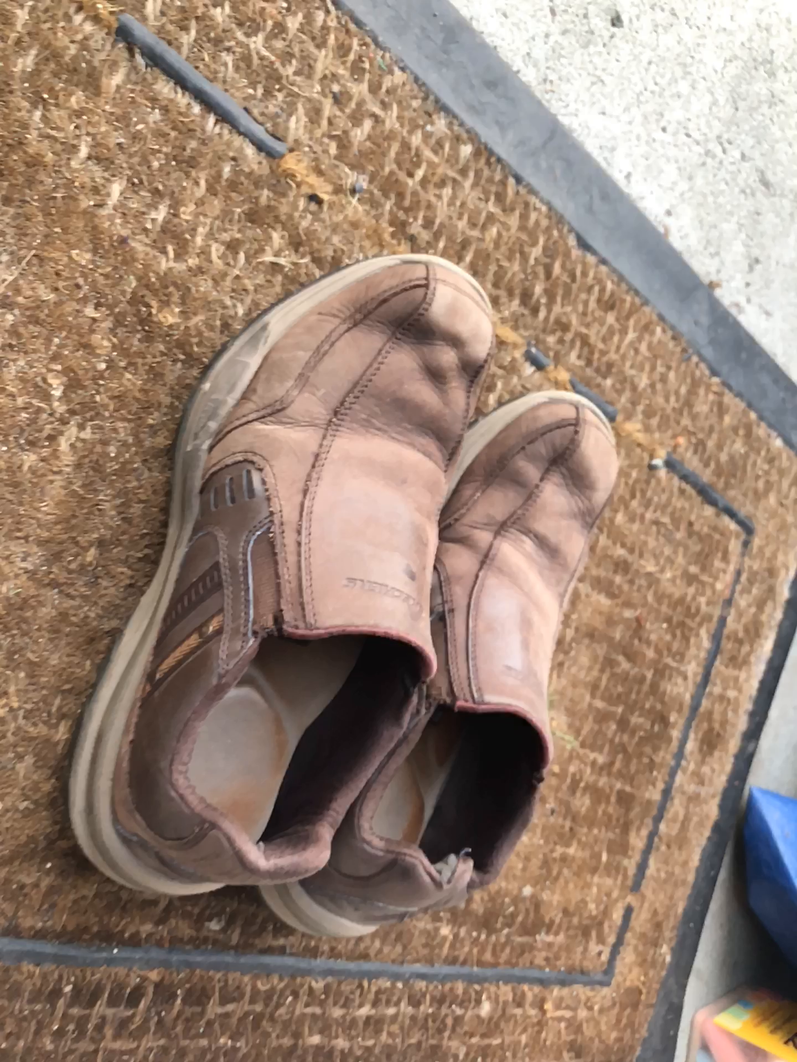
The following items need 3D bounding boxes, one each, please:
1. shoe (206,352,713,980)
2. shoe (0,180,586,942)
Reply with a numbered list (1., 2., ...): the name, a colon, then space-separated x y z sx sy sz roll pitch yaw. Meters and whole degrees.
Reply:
1. shoe: 0.034 0.052 0.412 0.100 0.100 0.254 36 75 -38
2. shoe: -0.039 0.008 0.362 0.100 0.100 0.267 32 78 -39
